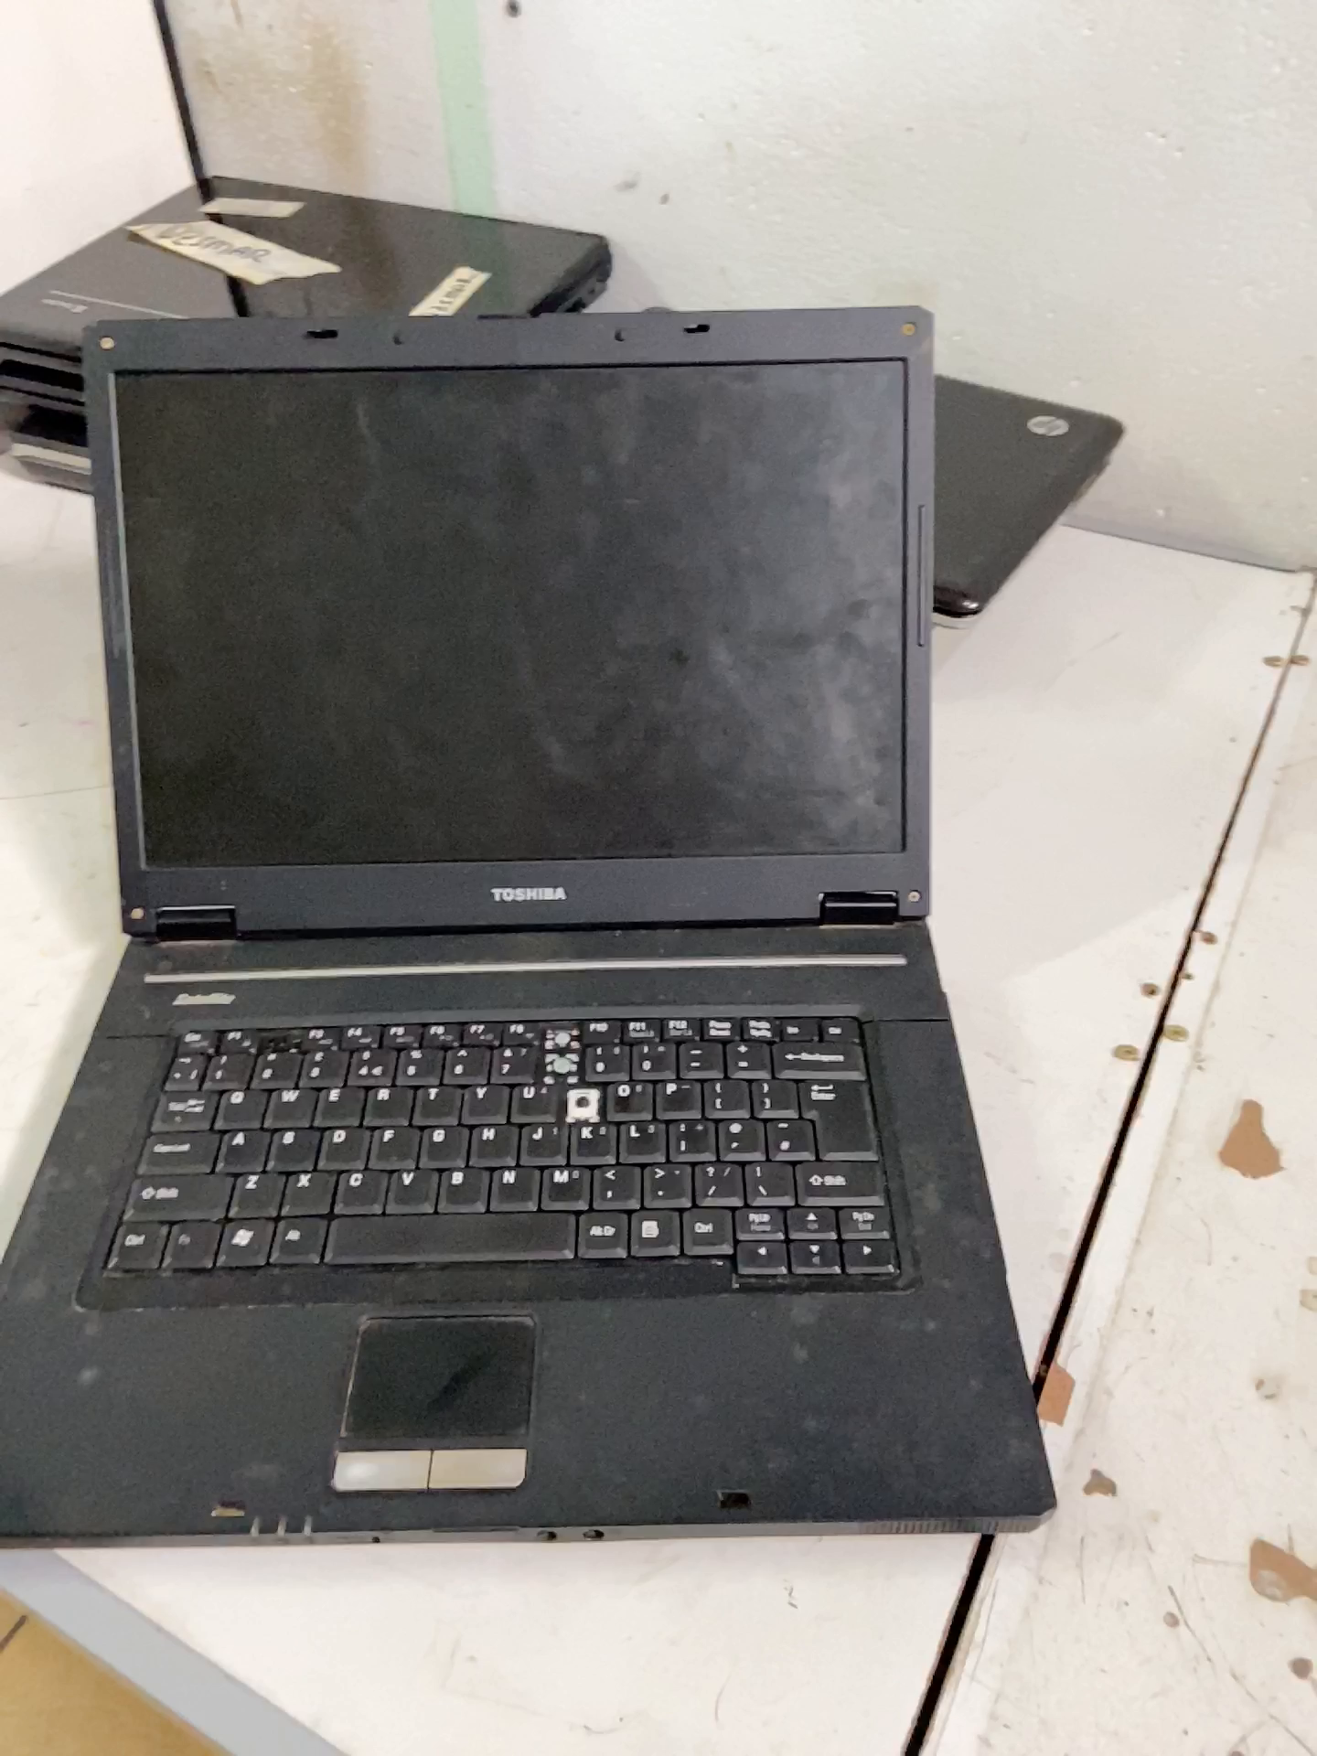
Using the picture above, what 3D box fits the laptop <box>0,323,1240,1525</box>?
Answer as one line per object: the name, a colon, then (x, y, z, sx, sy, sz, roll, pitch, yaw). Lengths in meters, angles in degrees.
laptop: (-0.057, -0.015, 0.498, 0.356, 0.212, 0.404, -1, 43, 1)
